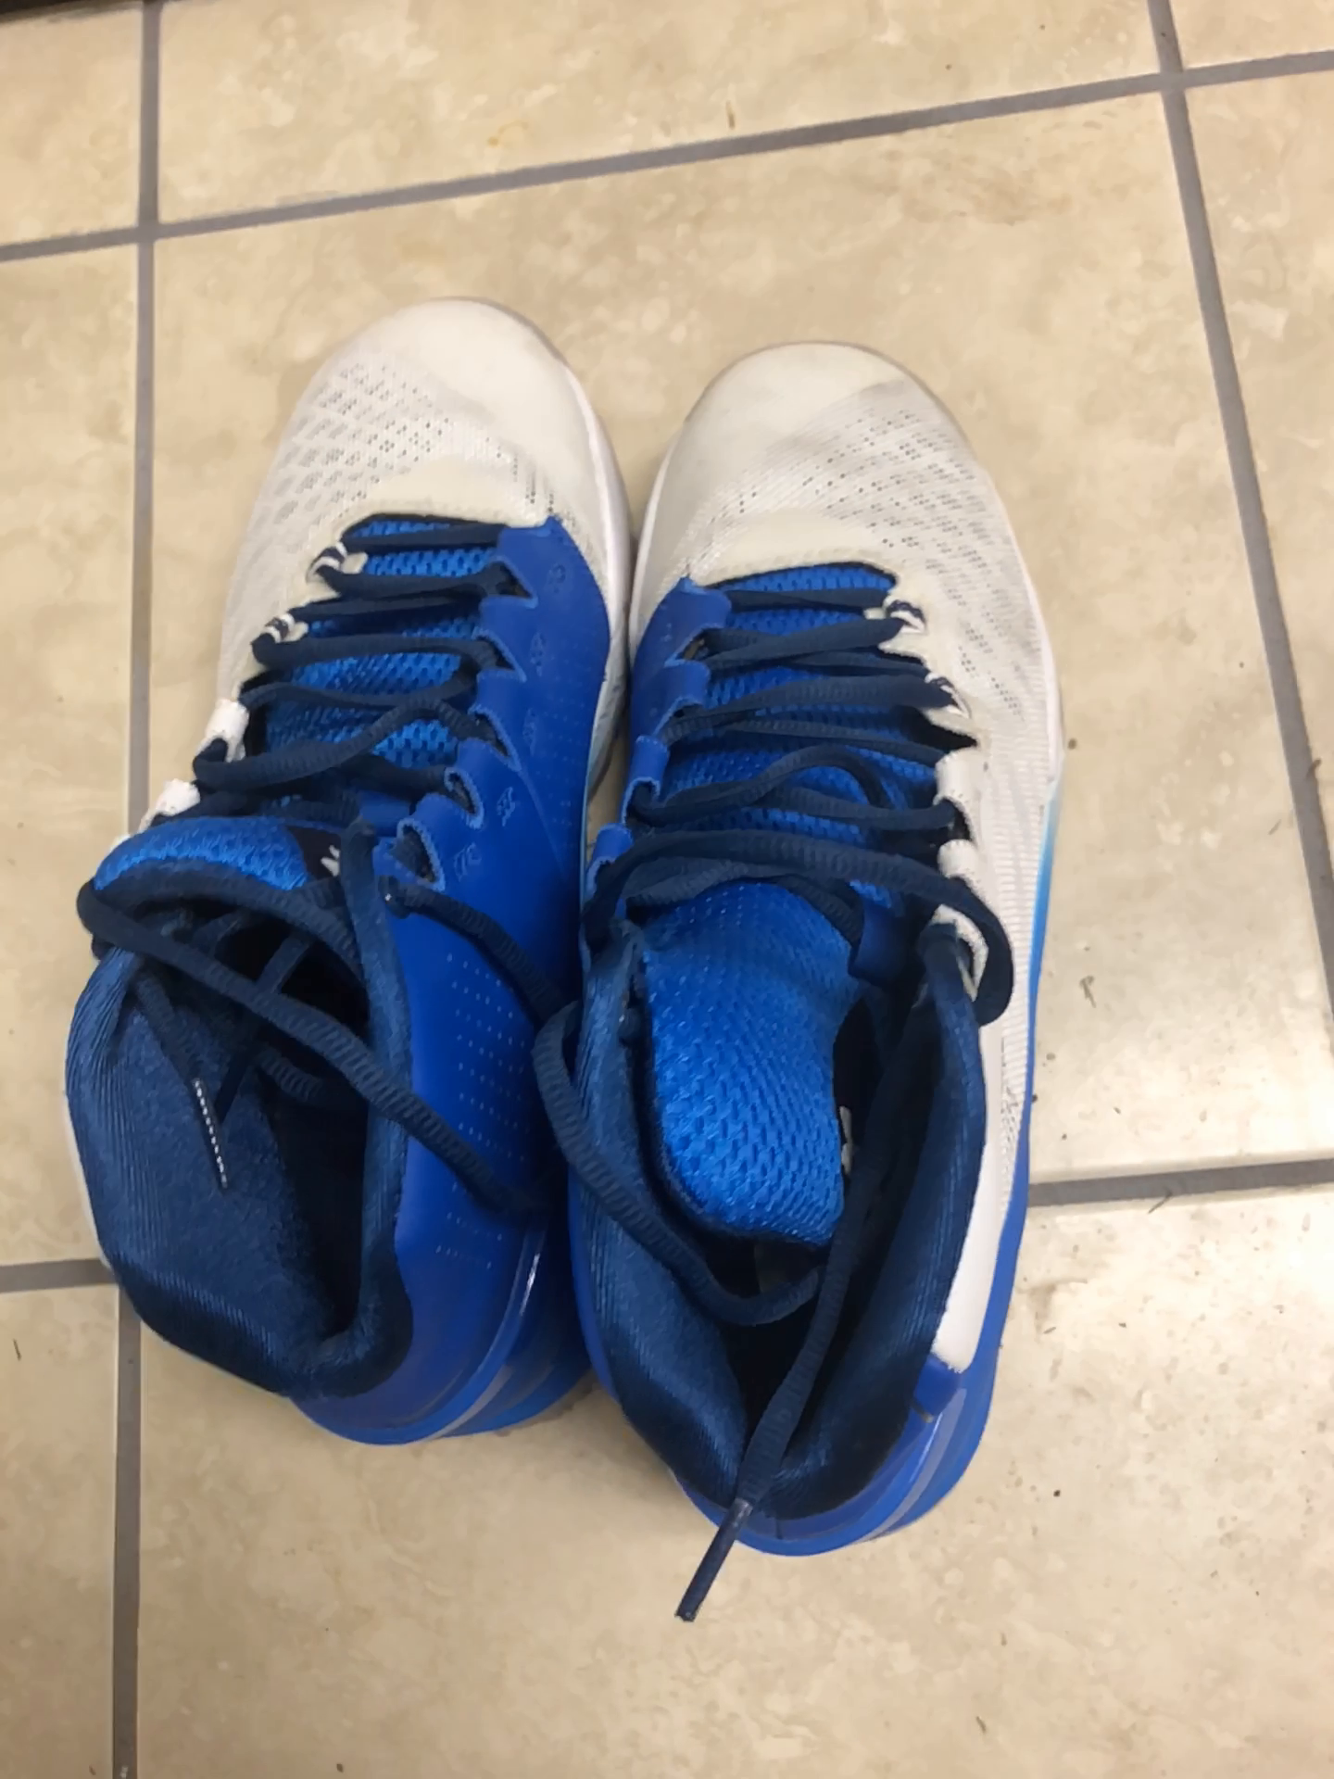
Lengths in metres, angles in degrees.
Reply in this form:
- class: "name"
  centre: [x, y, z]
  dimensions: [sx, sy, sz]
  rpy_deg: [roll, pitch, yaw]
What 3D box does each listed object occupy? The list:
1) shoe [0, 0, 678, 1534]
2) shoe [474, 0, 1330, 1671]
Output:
- class: "shoe"
  centre: [-0.068, -0.031, 0.335]
  dimensions: [0.120, 0.100, 0.310]
  rpy_deg: [-3, 76, 6]
- class: "shoe"
  centre: [0.038, -0.027, 0.318]
  dimensions: [0.120, 0.130, 0.322]
  rpy_deg: [-2, 73, 6]
